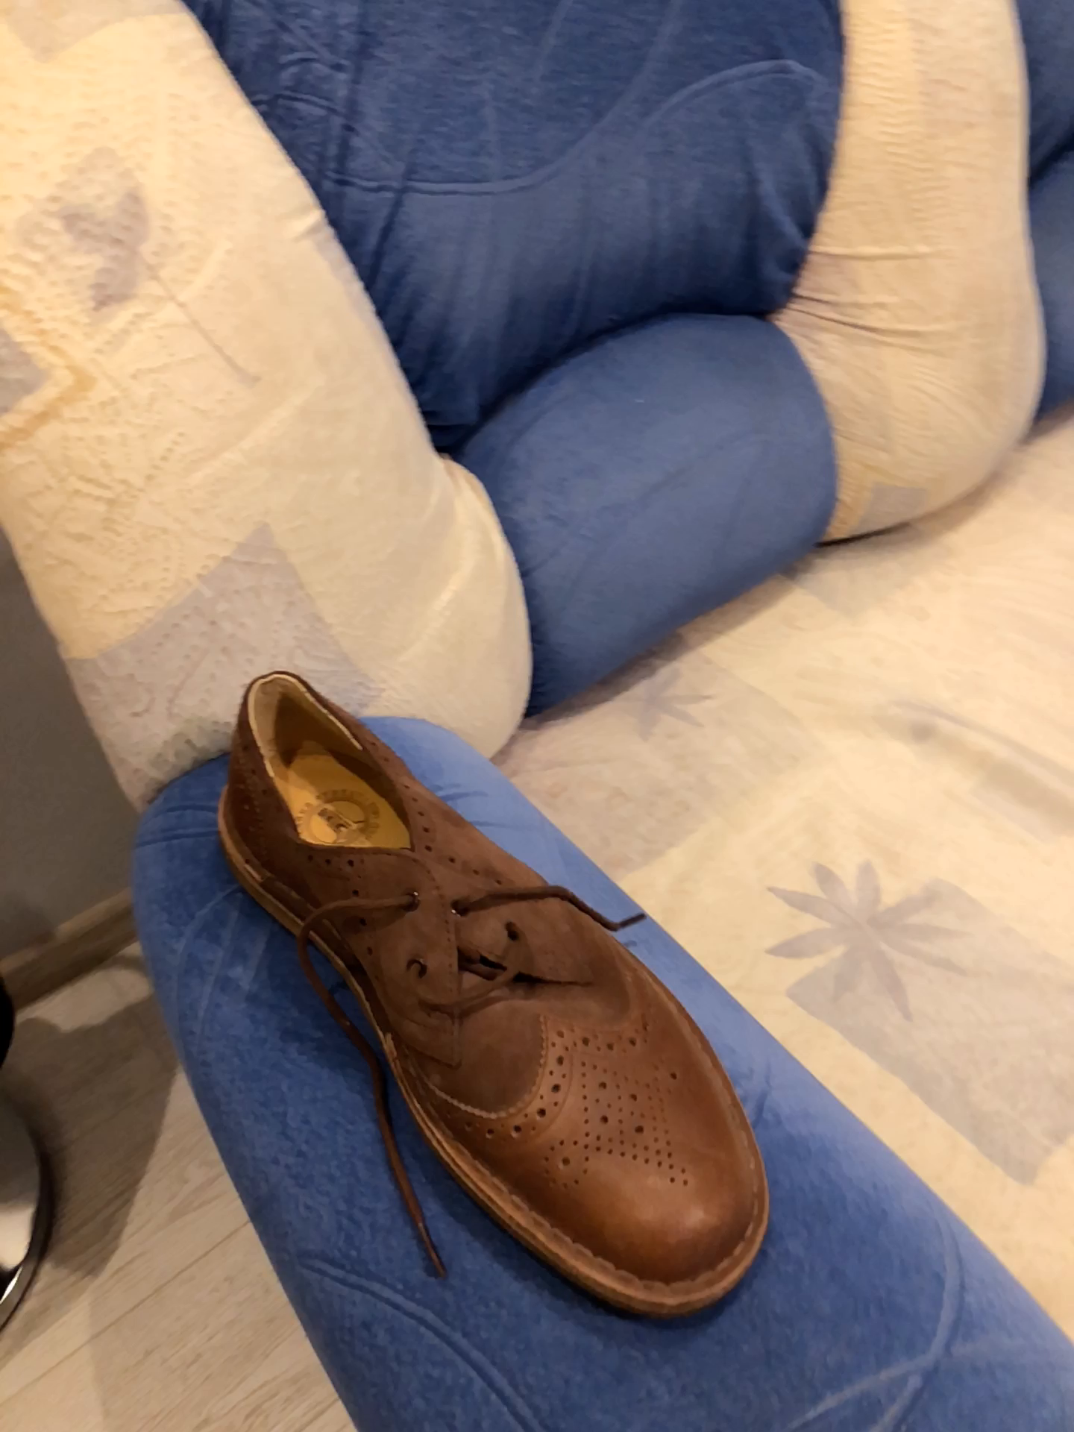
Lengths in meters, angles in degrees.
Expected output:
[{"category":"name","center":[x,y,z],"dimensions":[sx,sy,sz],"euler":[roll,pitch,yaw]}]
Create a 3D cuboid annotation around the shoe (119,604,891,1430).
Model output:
[{"category":"shoe","center":[-0.031,0.093,0.467],"dimensions":[0.113,0.089,0.314],"euler":[-31,54,-27]}]
